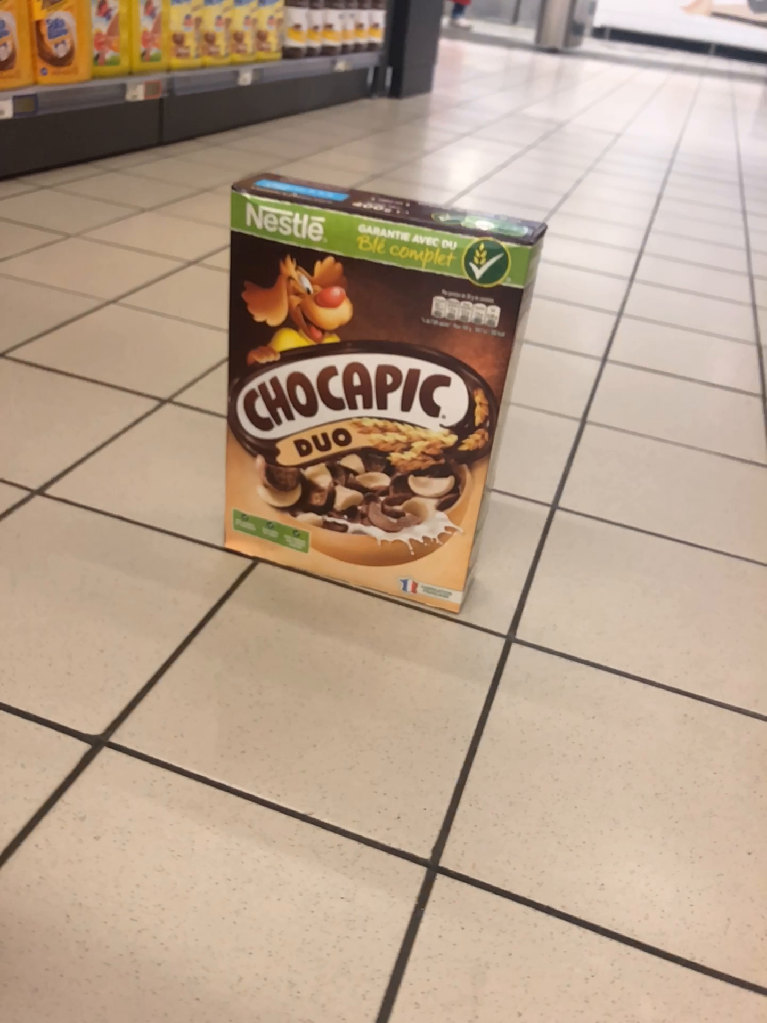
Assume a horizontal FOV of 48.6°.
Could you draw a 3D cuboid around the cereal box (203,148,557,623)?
[{"bbox_3d":[-0.016,-0.080,0.582,0.200,0.278,0.060,16,30,12],"label":"cereal box"}]
